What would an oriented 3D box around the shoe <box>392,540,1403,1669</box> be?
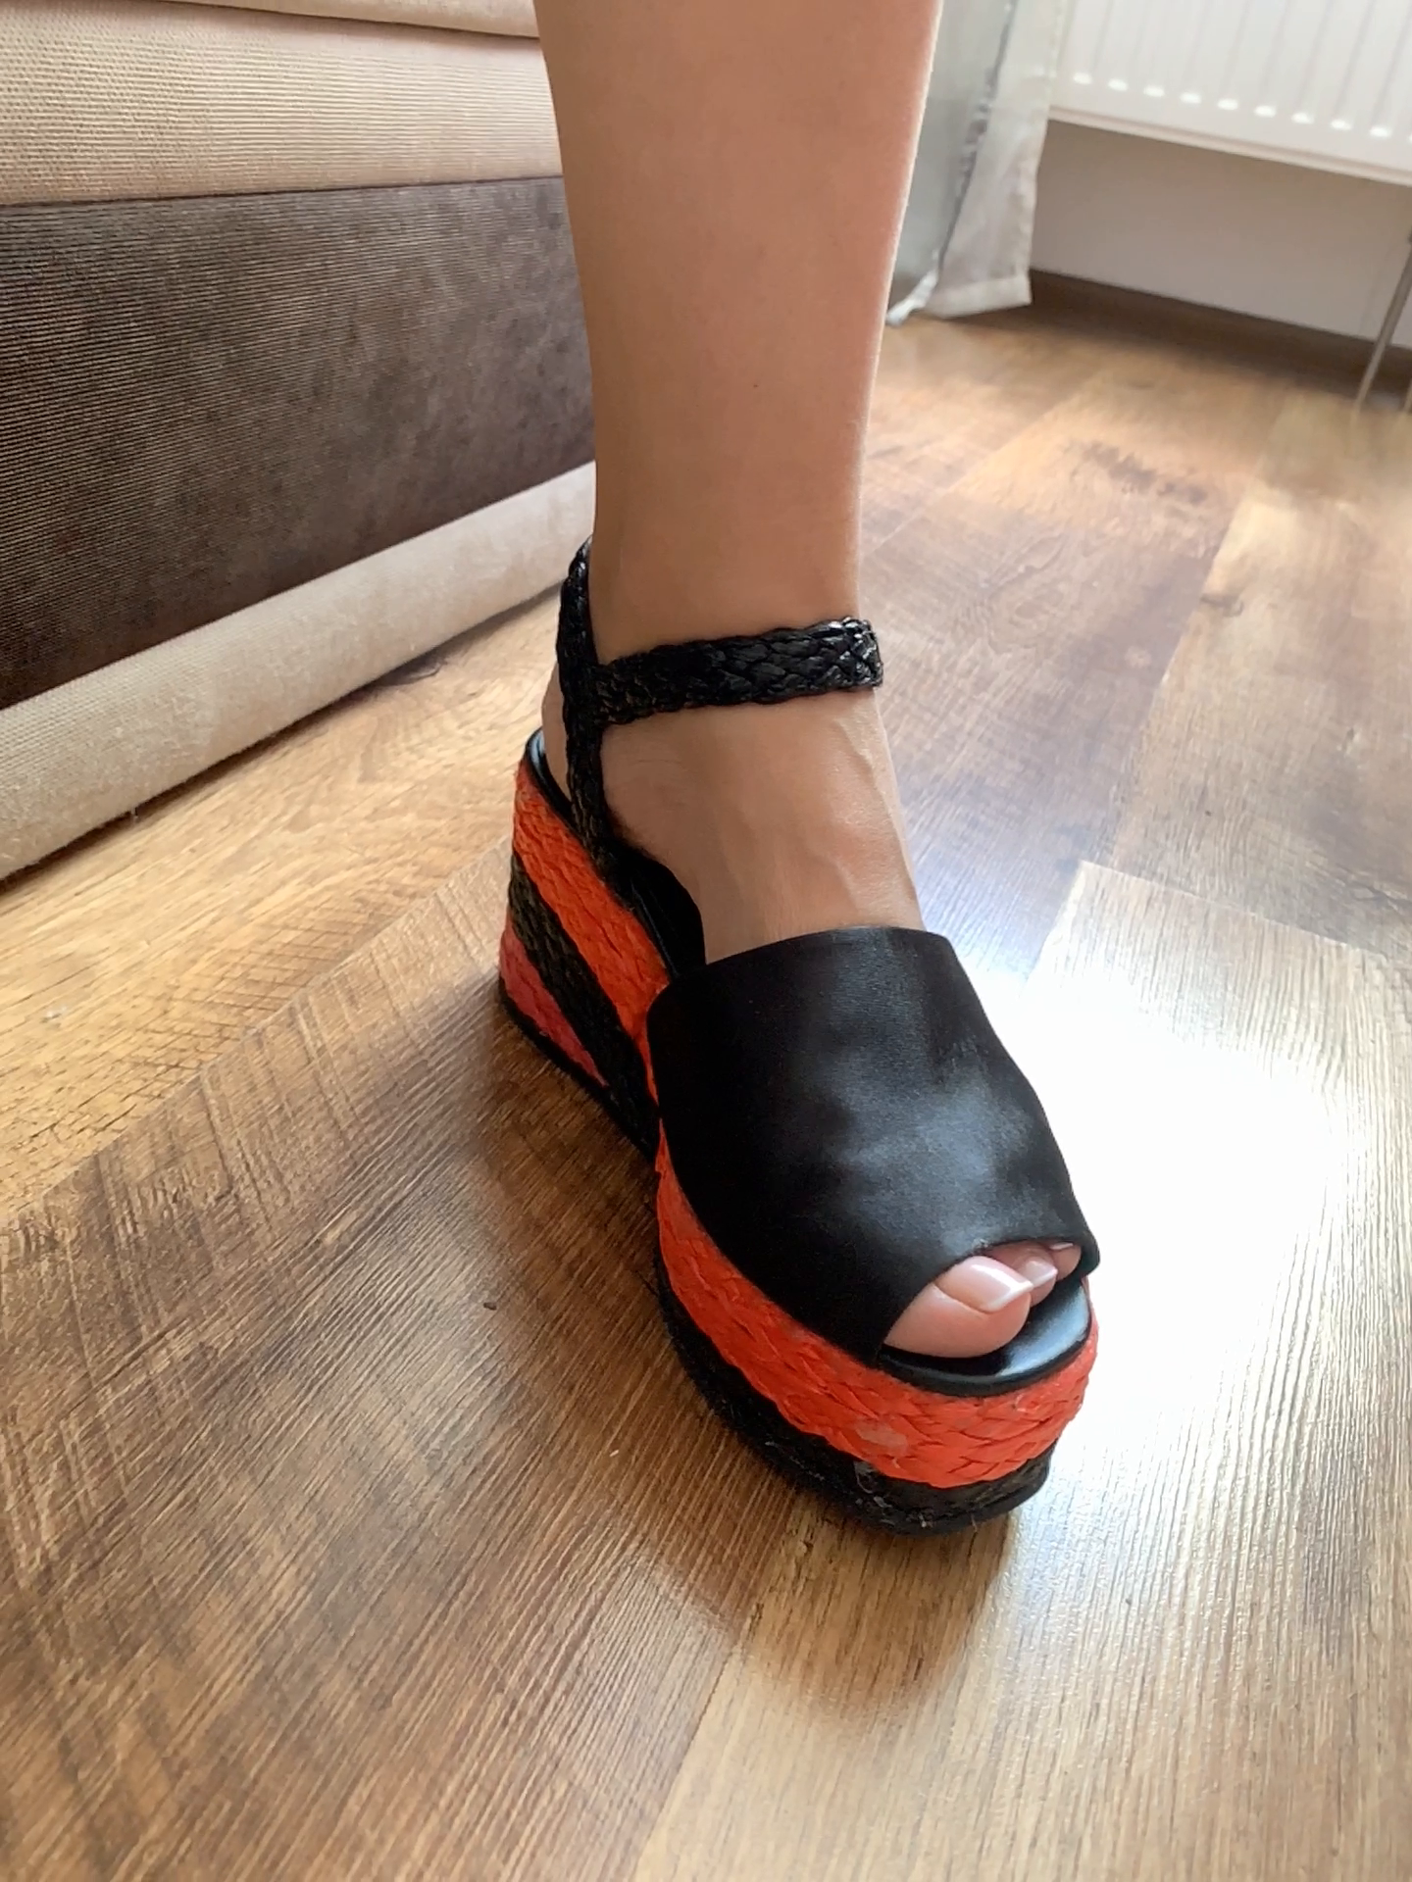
[{"bbox_3d":[0.011,0.009,0.336,0.089,0.124,0.241,-8,36,-28],"label":"shoe"}]
